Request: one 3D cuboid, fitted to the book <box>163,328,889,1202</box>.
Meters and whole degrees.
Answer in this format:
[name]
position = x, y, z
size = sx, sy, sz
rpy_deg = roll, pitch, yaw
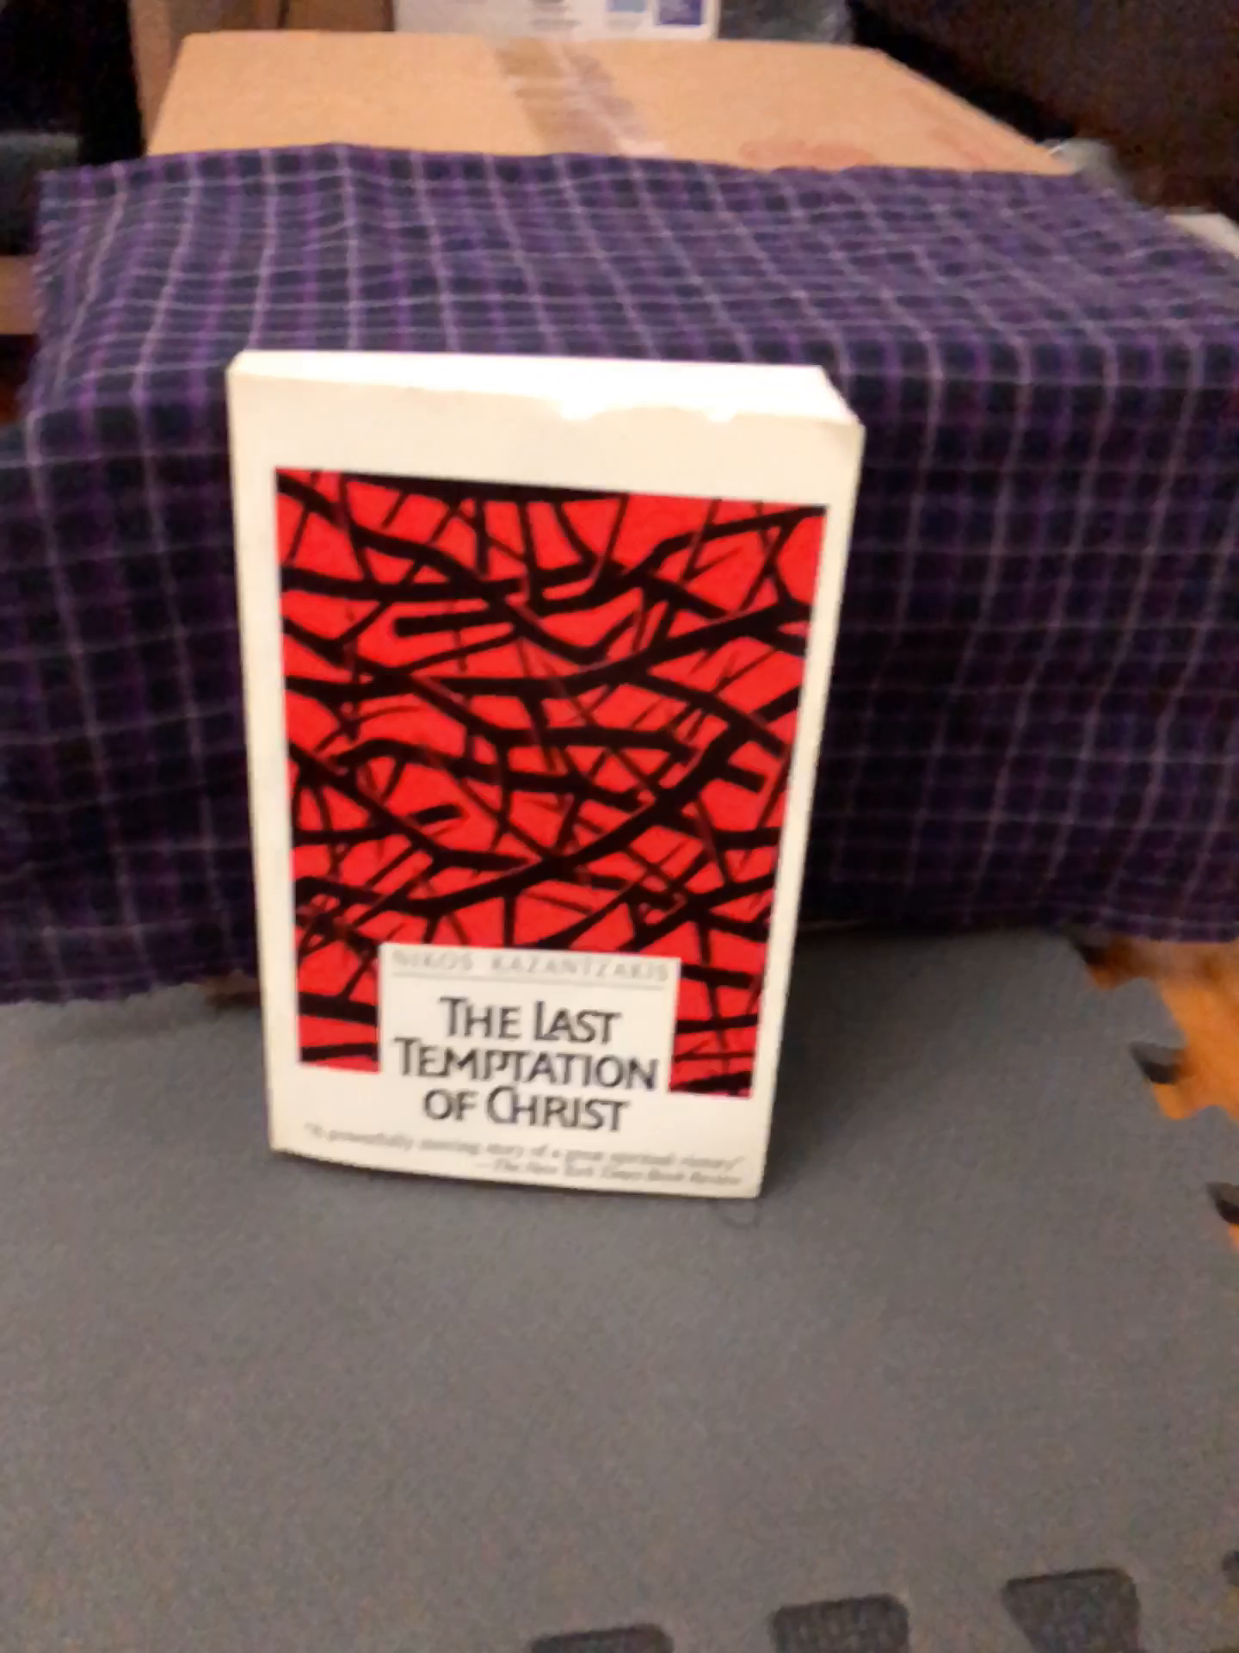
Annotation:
[book]
position = -0.018, -0.011, 0.344
size = 0.150, 0.209, 0.050
rpy_deg = 4, 27, 8
